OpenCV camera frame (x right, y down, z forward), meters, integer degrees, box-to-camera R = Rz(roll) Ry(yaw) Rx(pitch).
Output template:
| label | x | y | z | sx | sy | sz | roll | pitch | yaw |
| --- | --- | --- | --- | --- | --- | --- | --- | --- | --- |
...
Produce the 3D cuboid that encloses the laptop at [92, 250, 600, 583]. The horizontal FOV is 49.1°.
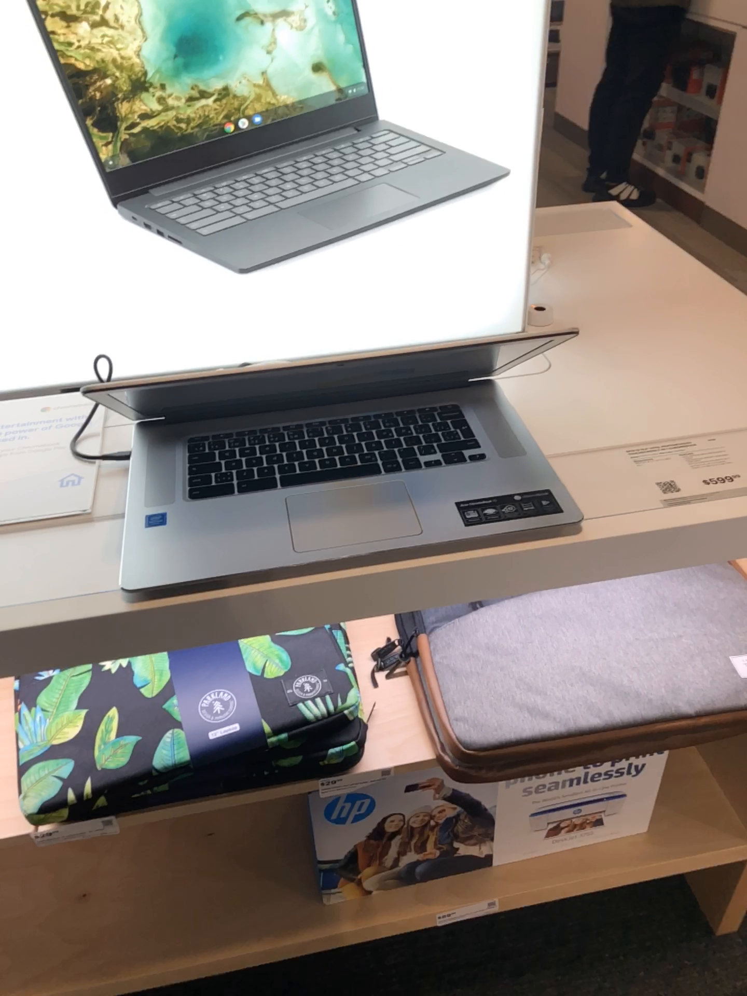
| label | x | y | z | sx | sy | sz | roll | pitch | yaw |
| --- | --- | --- | --- | --- | --- | --- | --- | --- | --- |
| laptop | -0.030 | -0.087 | 0.708 | 0.364 | 0.146 | 0.232 | -8 | 38 | -10 |
